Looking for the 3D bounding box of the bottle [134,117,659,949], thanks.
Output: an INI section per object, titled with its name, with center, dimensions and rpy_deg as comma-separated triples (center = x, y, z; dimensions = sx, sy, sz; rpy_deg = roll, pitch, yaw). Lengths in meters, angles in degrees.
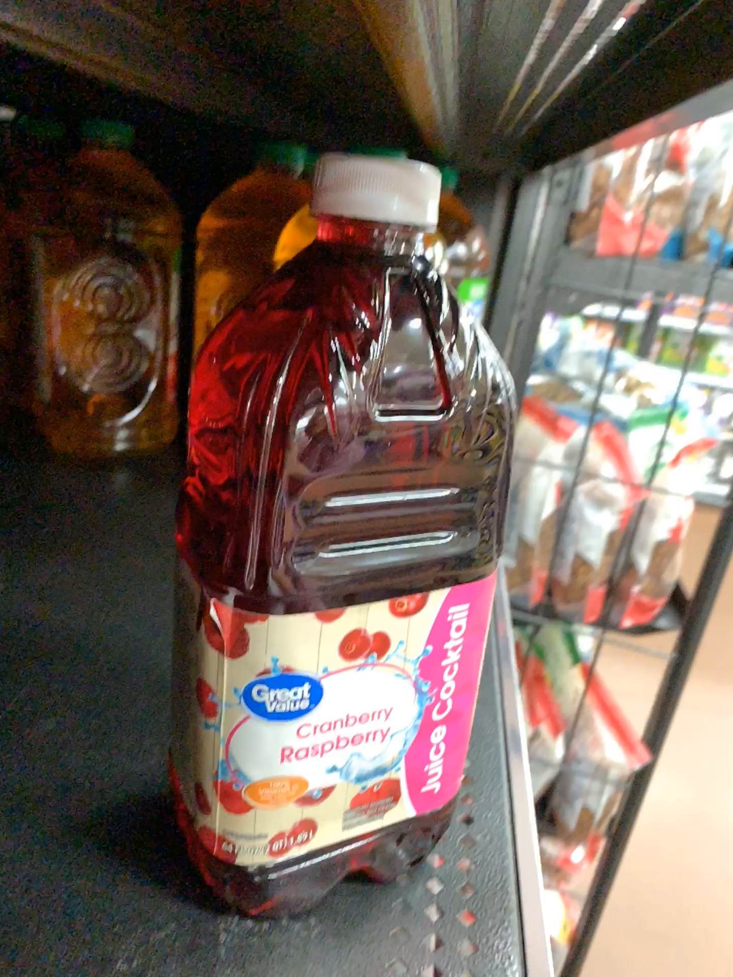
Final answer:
[bottle]
center = -0.007, 0.014, 0.286
dimensions = 0.125, 0.259, 0.100
rpy_deg = -4, 24, -30
